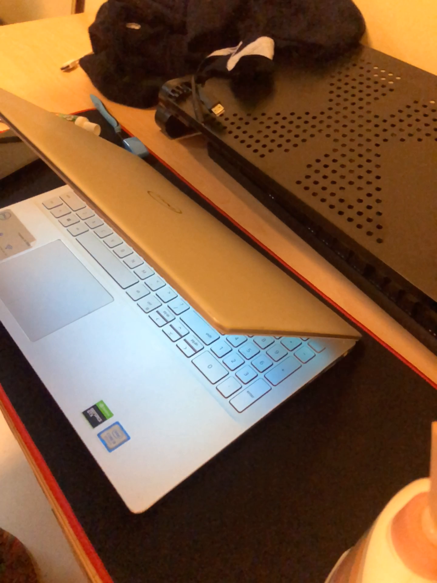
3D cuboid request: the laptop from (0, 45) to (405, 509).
[{"bbox_3d":[-0.077,-0.056,0.409,0.219,0.139,0.352,-30,55,-28],"label":"laptop"}]
